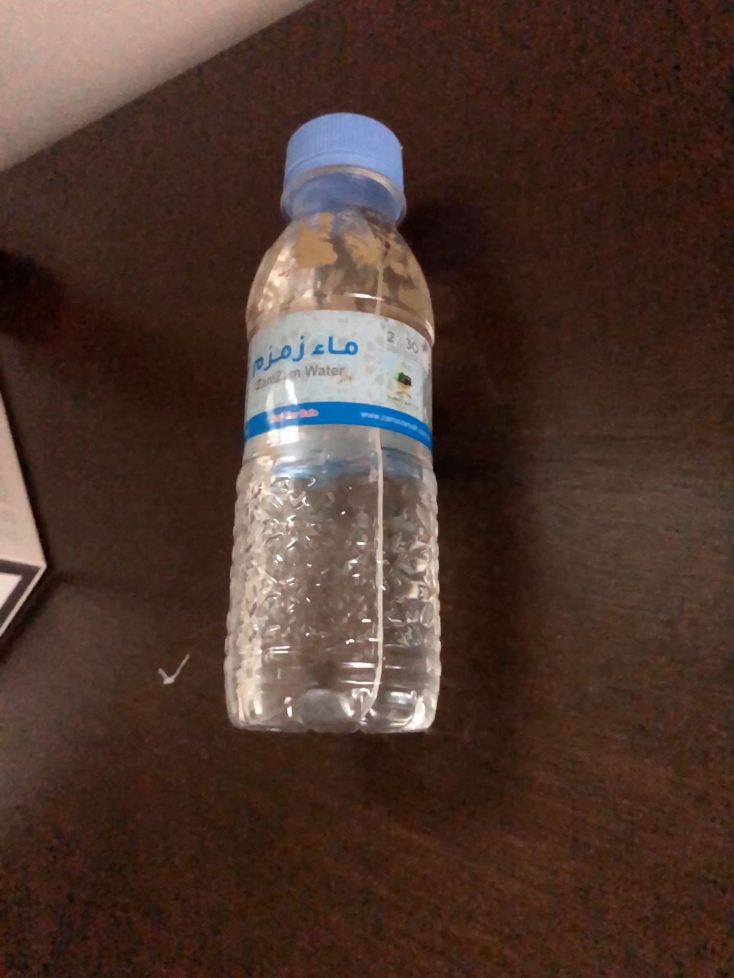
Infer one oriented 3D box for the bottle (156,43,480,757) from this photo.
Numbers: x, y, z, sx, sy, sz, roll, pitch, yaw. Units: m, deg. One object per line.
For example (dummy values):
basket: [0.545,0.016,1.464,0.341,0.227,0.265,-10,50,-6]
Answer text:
bottle: [-0.010,-0.019,0.203,0.050,0.050,0.160,-12,69,30]
